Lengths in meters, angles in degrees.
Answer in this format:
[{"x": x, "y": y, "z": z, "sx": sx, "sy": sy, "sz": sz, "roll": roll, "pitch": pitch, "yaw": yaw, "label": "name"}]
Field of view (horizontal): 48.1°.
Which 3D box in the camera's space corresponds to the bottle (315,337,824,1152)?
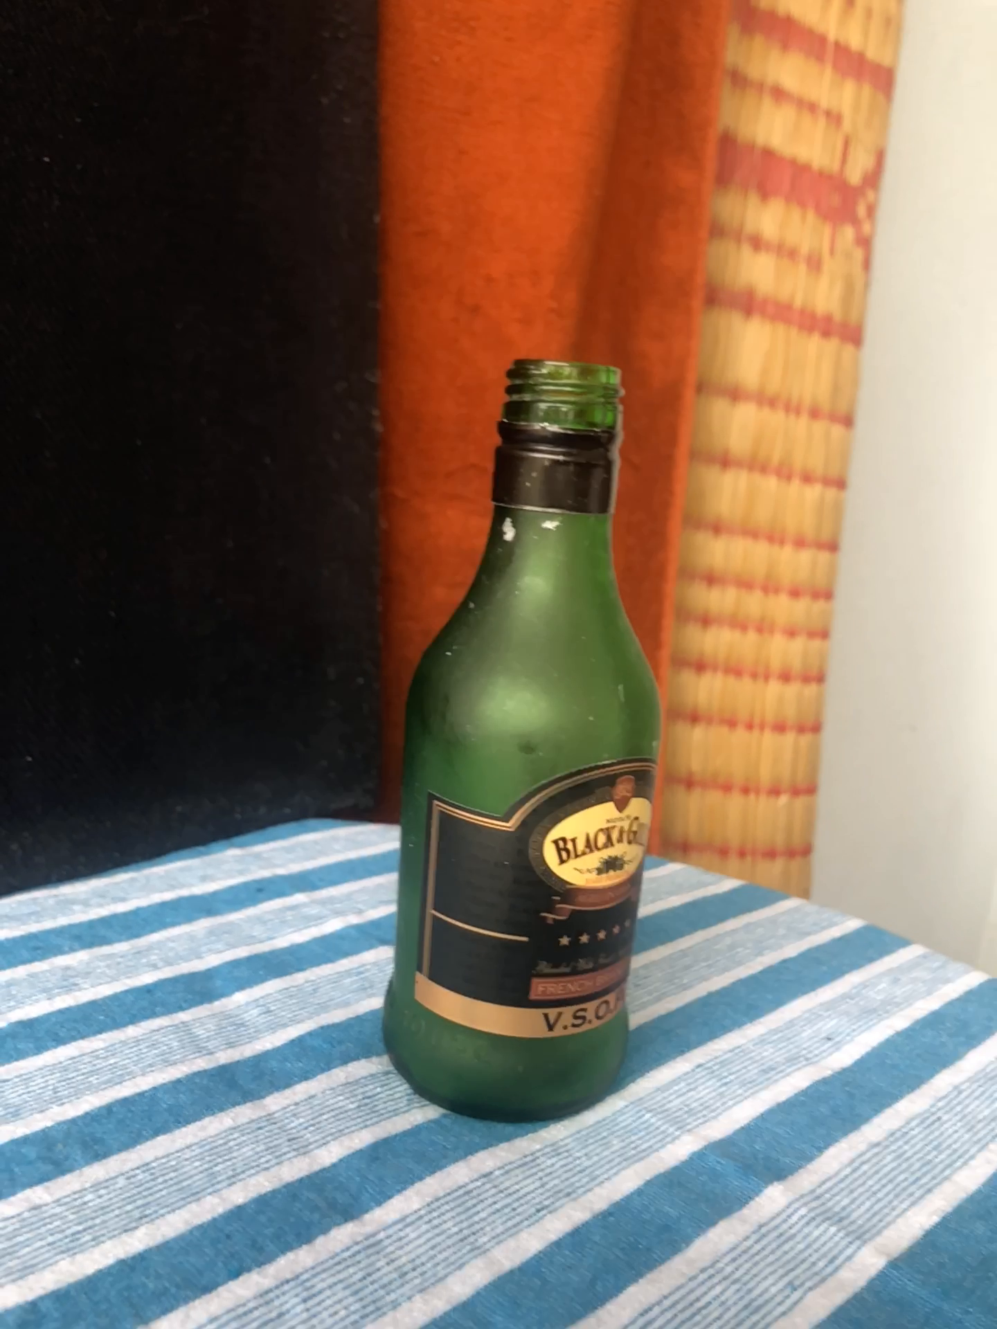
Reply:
[{"x": 0.012, "y": 0.011, "z": 0.228, "sx": 0.060, "sy": 0.140, "sz": 0.060, "roll": 7, "pitch": 10, "yaw": -1, "label": "bottle"}]
